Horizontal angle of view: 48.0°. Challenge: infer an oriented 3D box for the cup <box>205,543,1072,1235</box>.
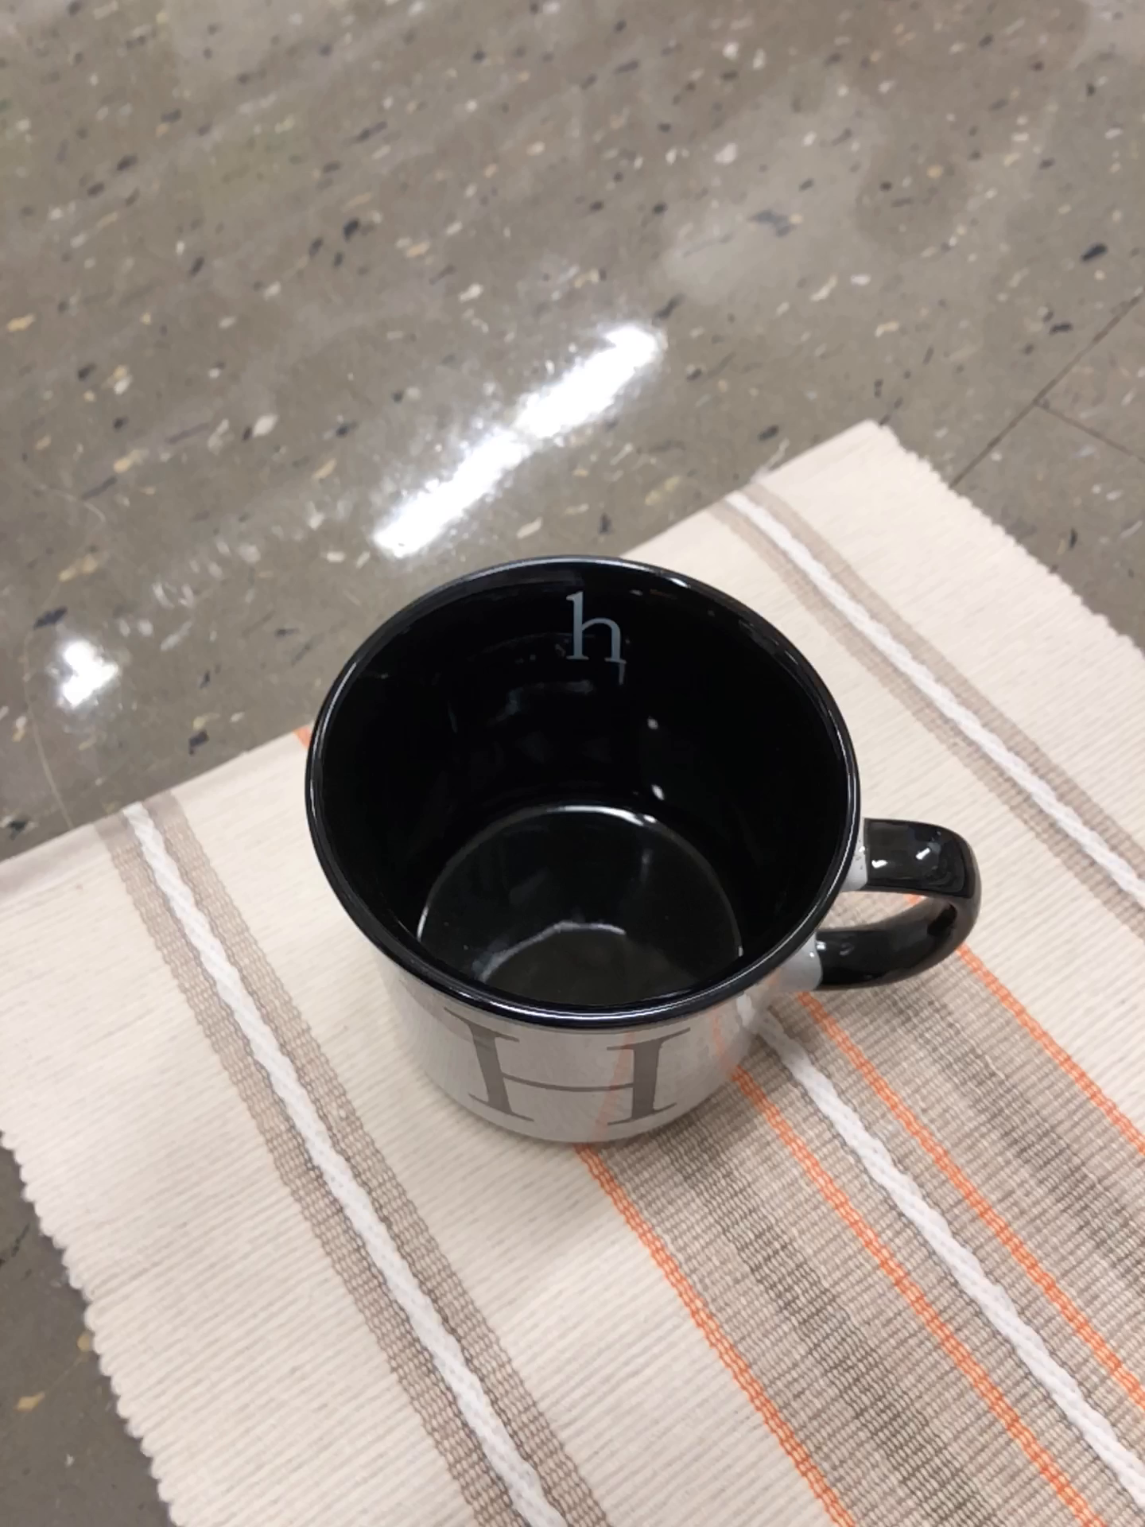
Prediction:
[{"bbox_3d":[0.015,0.030,0.276,0.140,0.100,0.100,5,58,4],"label":"cup"}]
